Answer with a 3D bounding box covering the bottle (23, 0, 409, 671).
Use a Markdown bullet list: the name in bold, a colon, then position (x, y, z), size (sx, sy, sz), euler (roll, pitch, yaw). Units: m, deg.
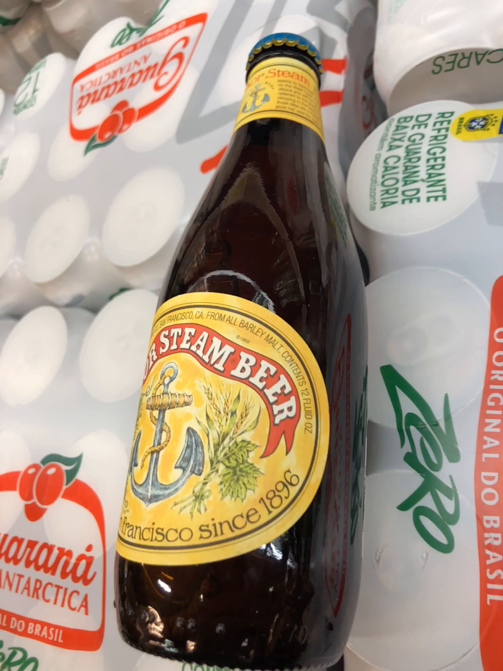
- **bottle**: position (0.000, -0.026, 0.171), size (0.070, 0.060, 0.220), euler (-9, 67, 33)
